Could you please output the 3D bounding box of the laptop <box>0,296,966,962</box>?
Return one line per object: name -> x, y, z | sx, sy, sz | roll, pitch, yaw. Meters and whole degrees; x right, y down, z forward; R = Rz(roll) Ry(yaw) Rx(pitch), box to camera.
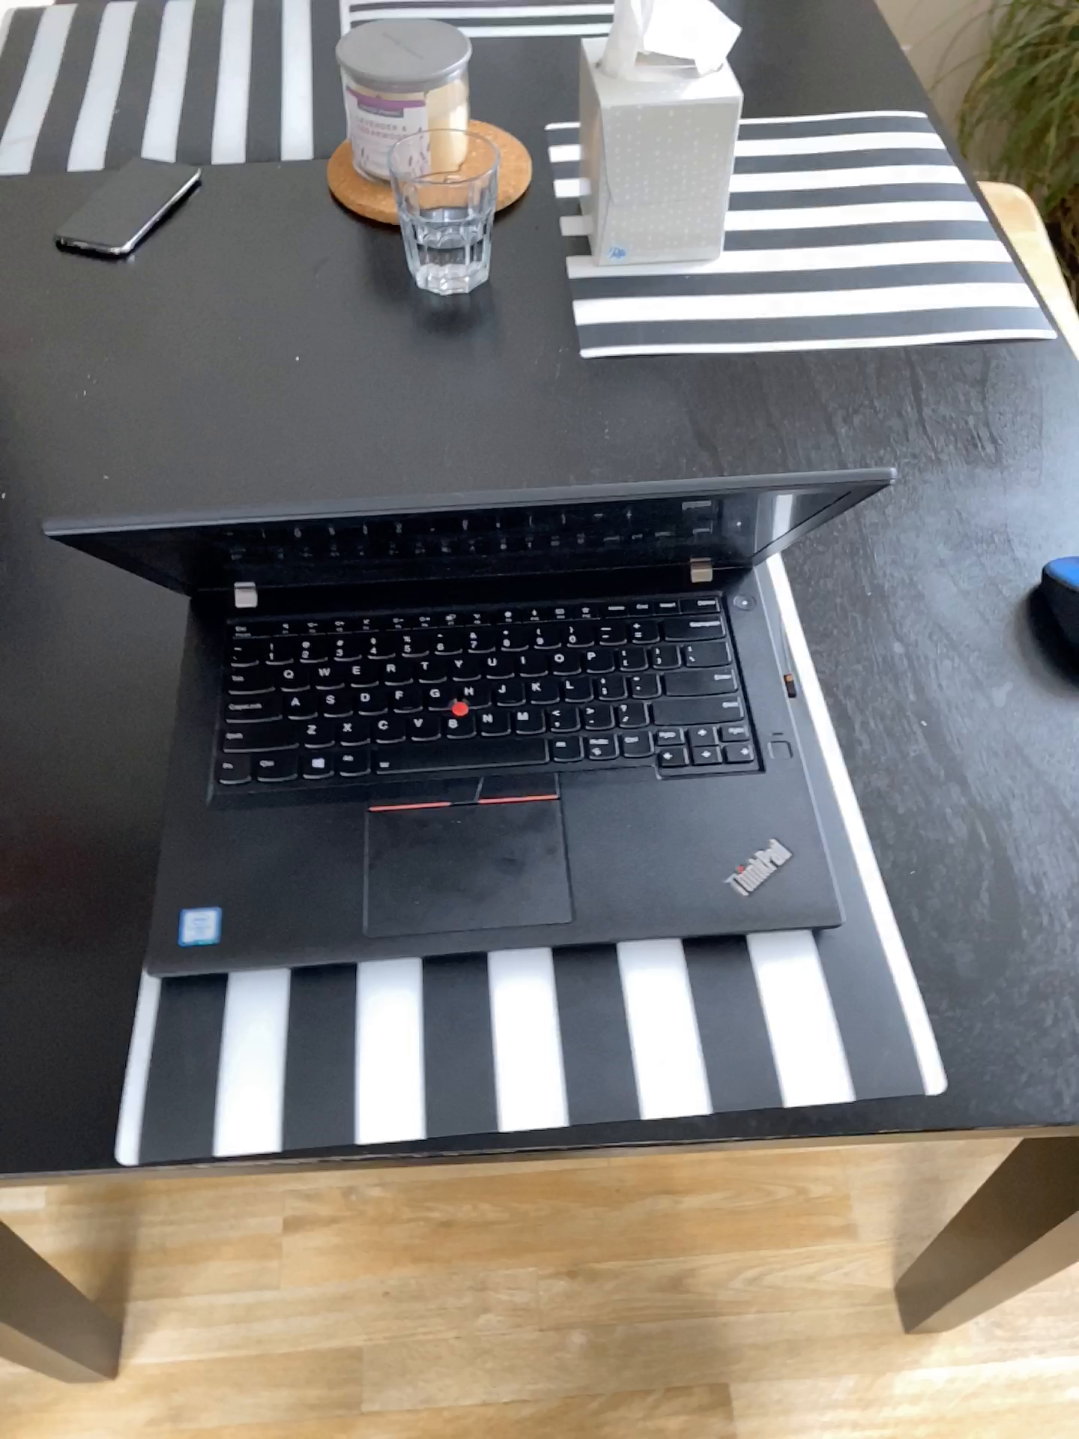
laptop -> -0.027, -0.042, 0.496 | 0.320, 0.175, 0.221 | -3, 53, -3
